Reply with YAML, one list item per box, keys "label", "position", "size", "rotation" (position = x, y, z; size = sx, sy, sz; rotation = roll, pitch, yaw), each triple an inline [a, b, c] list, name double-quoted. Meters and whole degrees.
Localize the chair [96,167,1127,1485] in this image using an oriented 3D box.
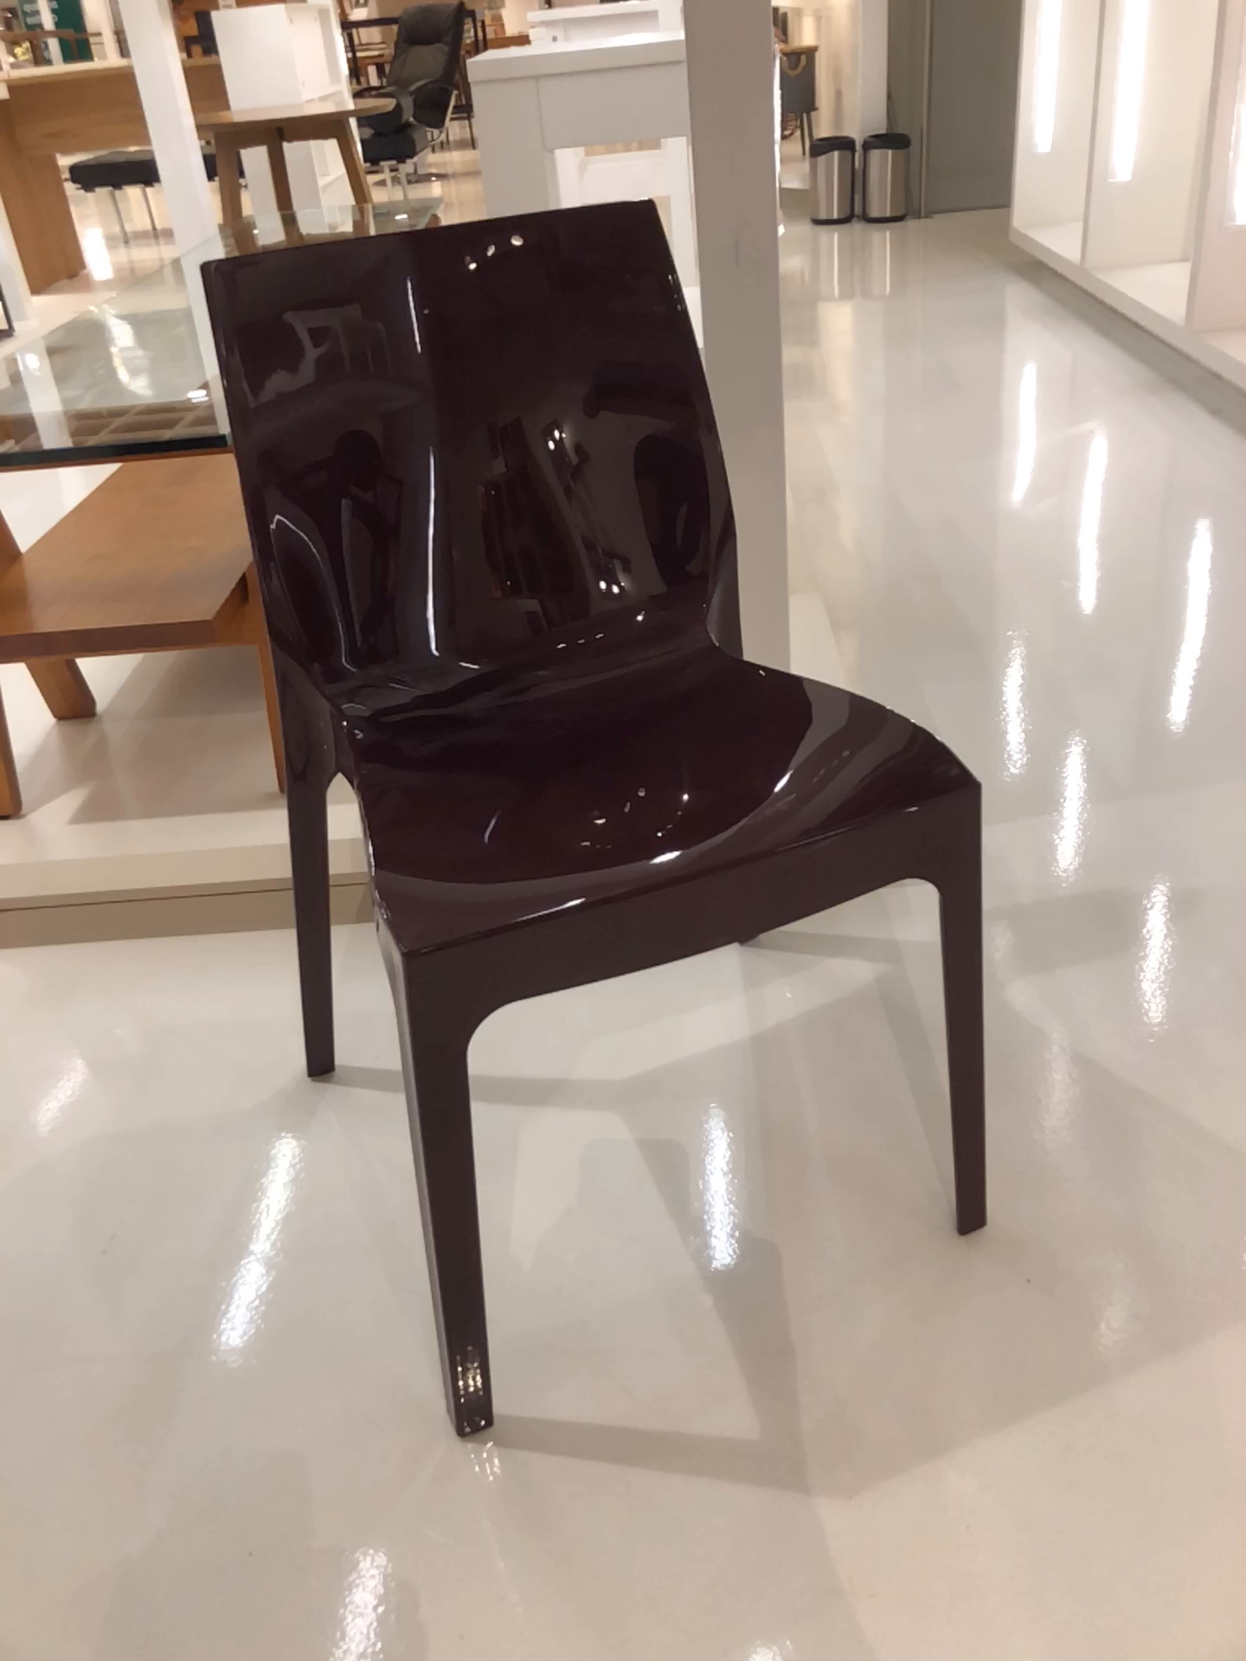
- label: "chair"
  position: [-0.029, -0.053, 1.130]
  size: [0.531, 0.814, 0.564]
  rotation: [-16, 32, -17]
